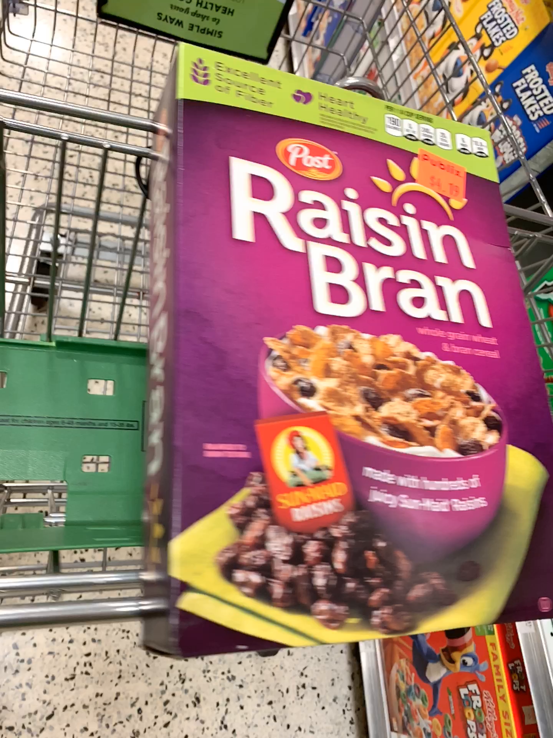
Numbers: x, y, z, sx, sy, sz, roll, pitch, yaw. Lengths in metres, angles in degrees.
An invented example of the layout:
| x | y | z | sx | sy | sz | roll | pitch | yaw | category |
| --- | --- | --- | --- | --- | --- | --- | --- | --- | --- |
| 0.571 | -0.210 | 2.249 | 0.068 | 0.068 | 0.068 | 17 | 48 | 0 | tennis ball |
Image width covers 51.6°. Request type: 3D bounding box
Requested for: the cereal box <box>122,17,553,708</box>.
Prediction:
| x | y | z | sx | sy | sz | roll | pitch | yaw | category |
| --- | --- | --- | --- | --- | --- | --- | --- | --- | --- |
| 0.042 | -0.015 | 0.279 | 0.211 | 0.060 | 0.281 | 5 | 66 | -22 | cereal box |
